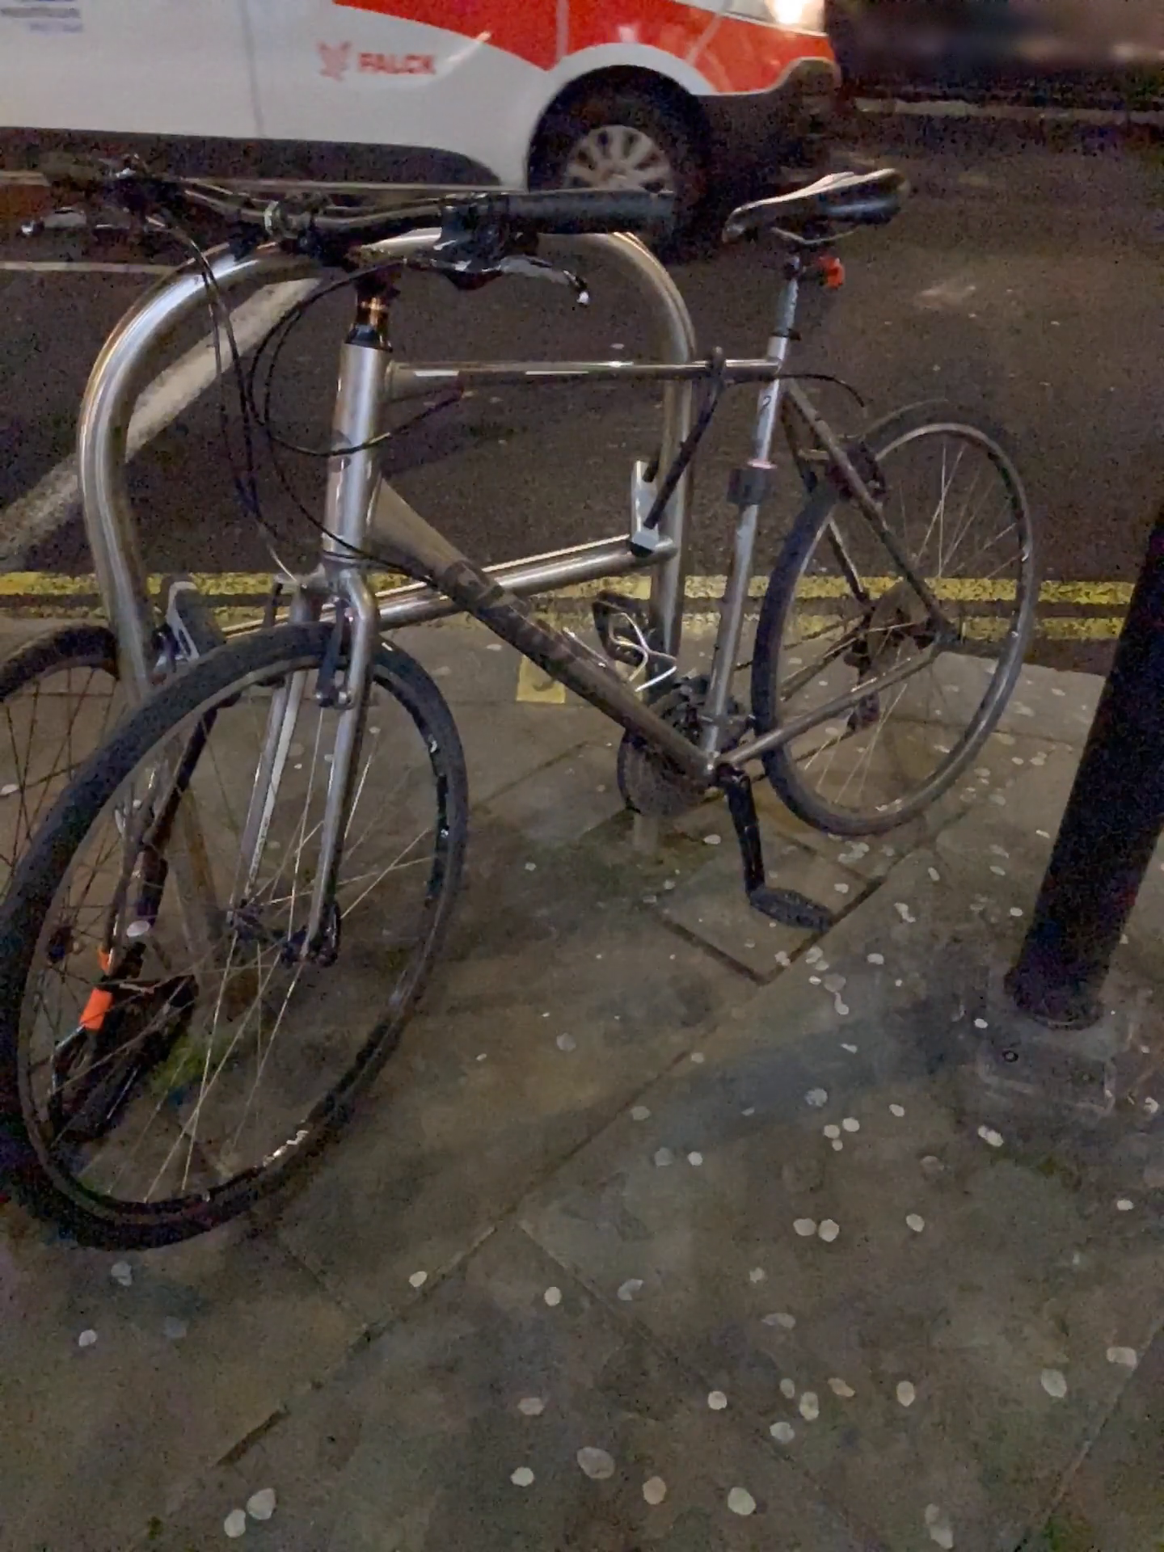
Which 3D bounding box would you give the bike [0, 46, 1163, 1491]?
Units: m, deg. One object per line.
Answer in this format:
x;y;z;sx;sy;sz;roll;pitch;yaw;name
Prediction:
0.019;-0.248;1.570;1.825;1.124;0.710;-28;45;-34;bike
